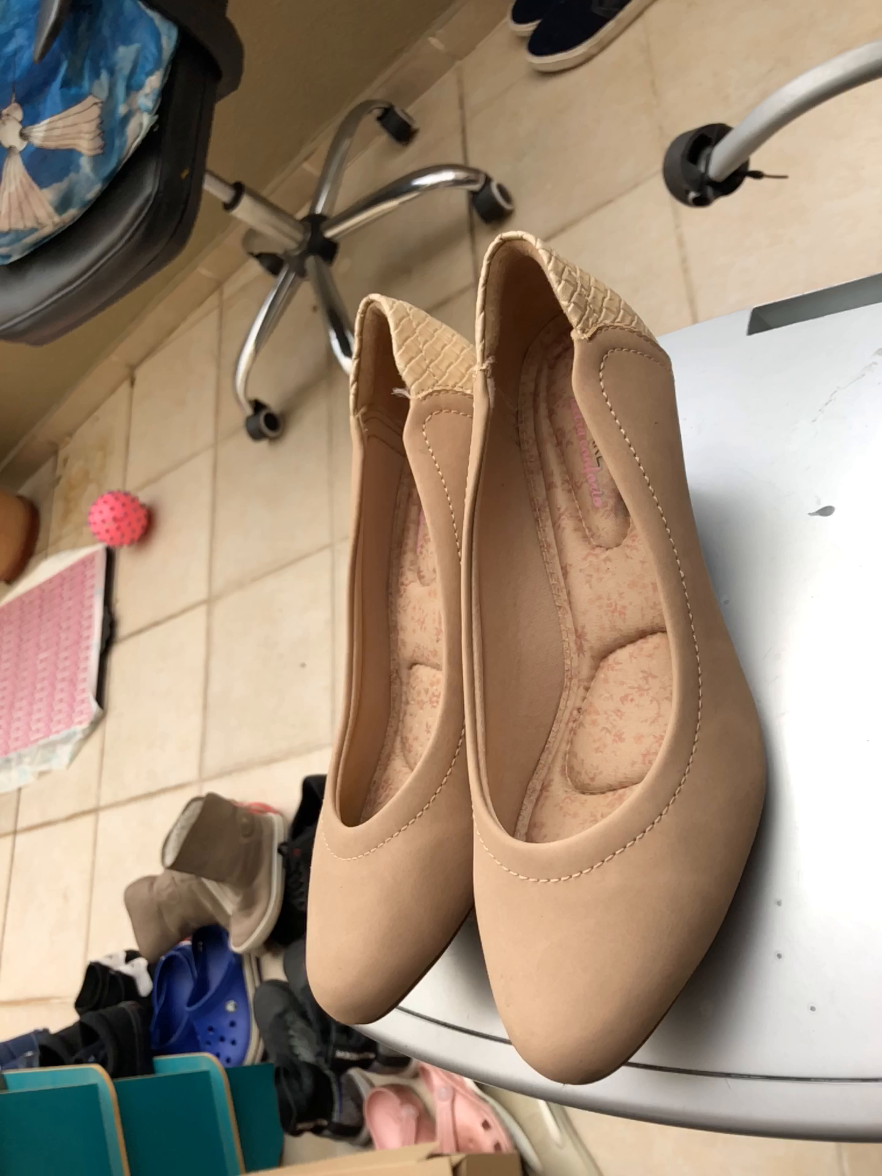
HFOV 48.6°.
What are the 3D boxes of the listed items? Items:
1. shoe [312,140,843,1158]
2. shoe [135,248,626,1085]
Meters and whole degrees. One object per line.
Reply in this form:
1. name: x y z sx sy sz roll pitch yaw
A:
1. shoe: 0.046 0.018 0.300 0.090 0.119 0.244 -12 68 41
2. shoe: -0.012 0.028 0.353 0.090 0.119 0.244 -6 72 43
